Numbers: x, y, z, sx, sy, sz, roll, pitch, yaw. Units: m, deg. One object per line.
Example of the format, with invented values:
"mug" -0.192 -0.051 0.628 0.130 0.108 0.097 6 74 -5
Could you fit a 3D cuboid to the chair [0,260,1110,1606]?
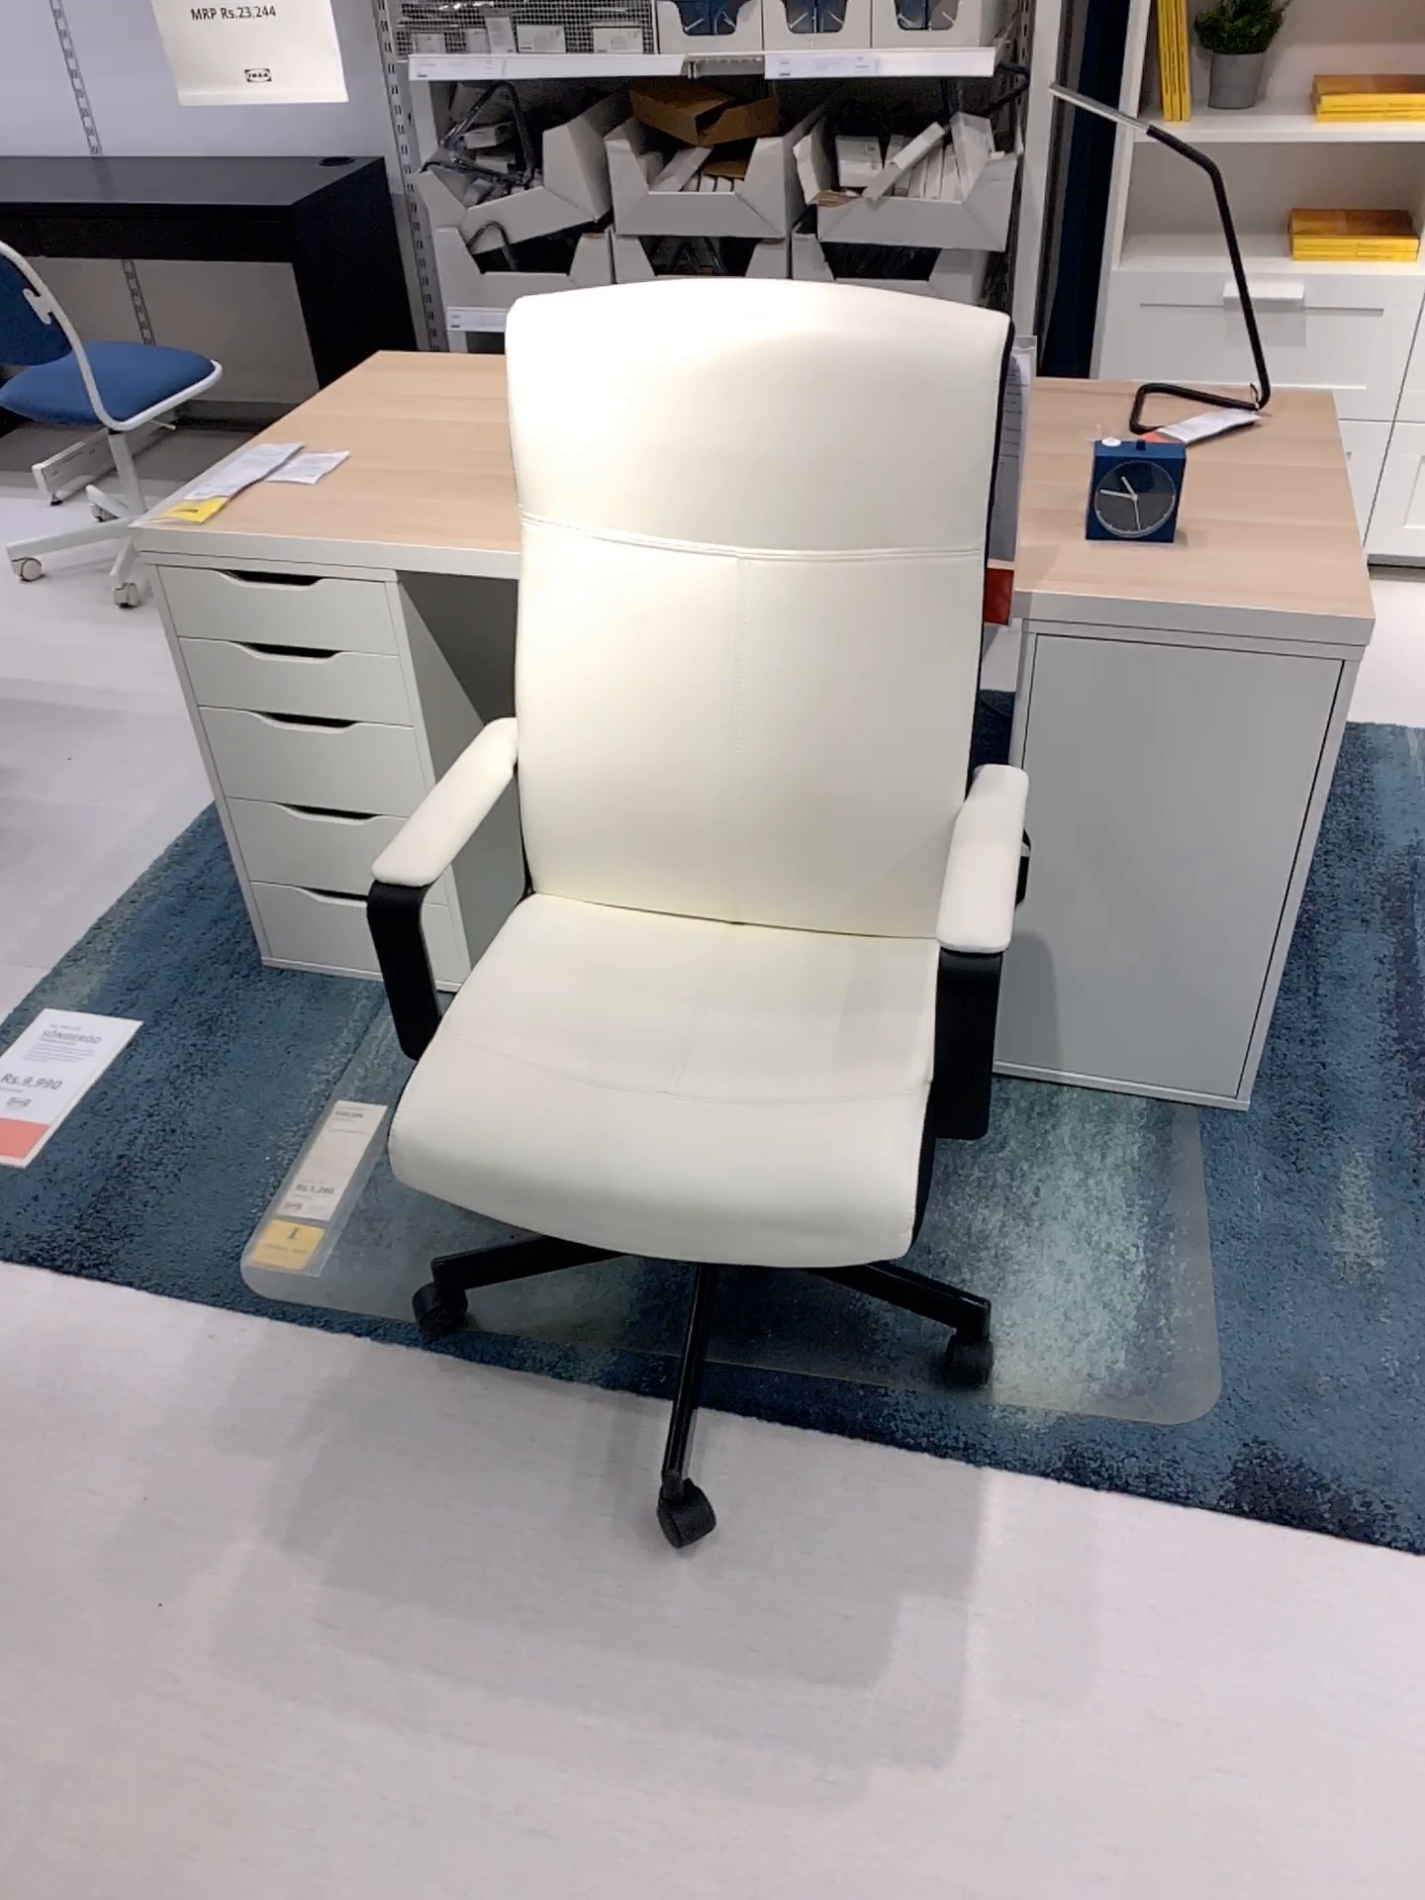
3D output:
"chair" -0.056 -0.039 1.360 0.690 0.956 0.703 7 39 13
